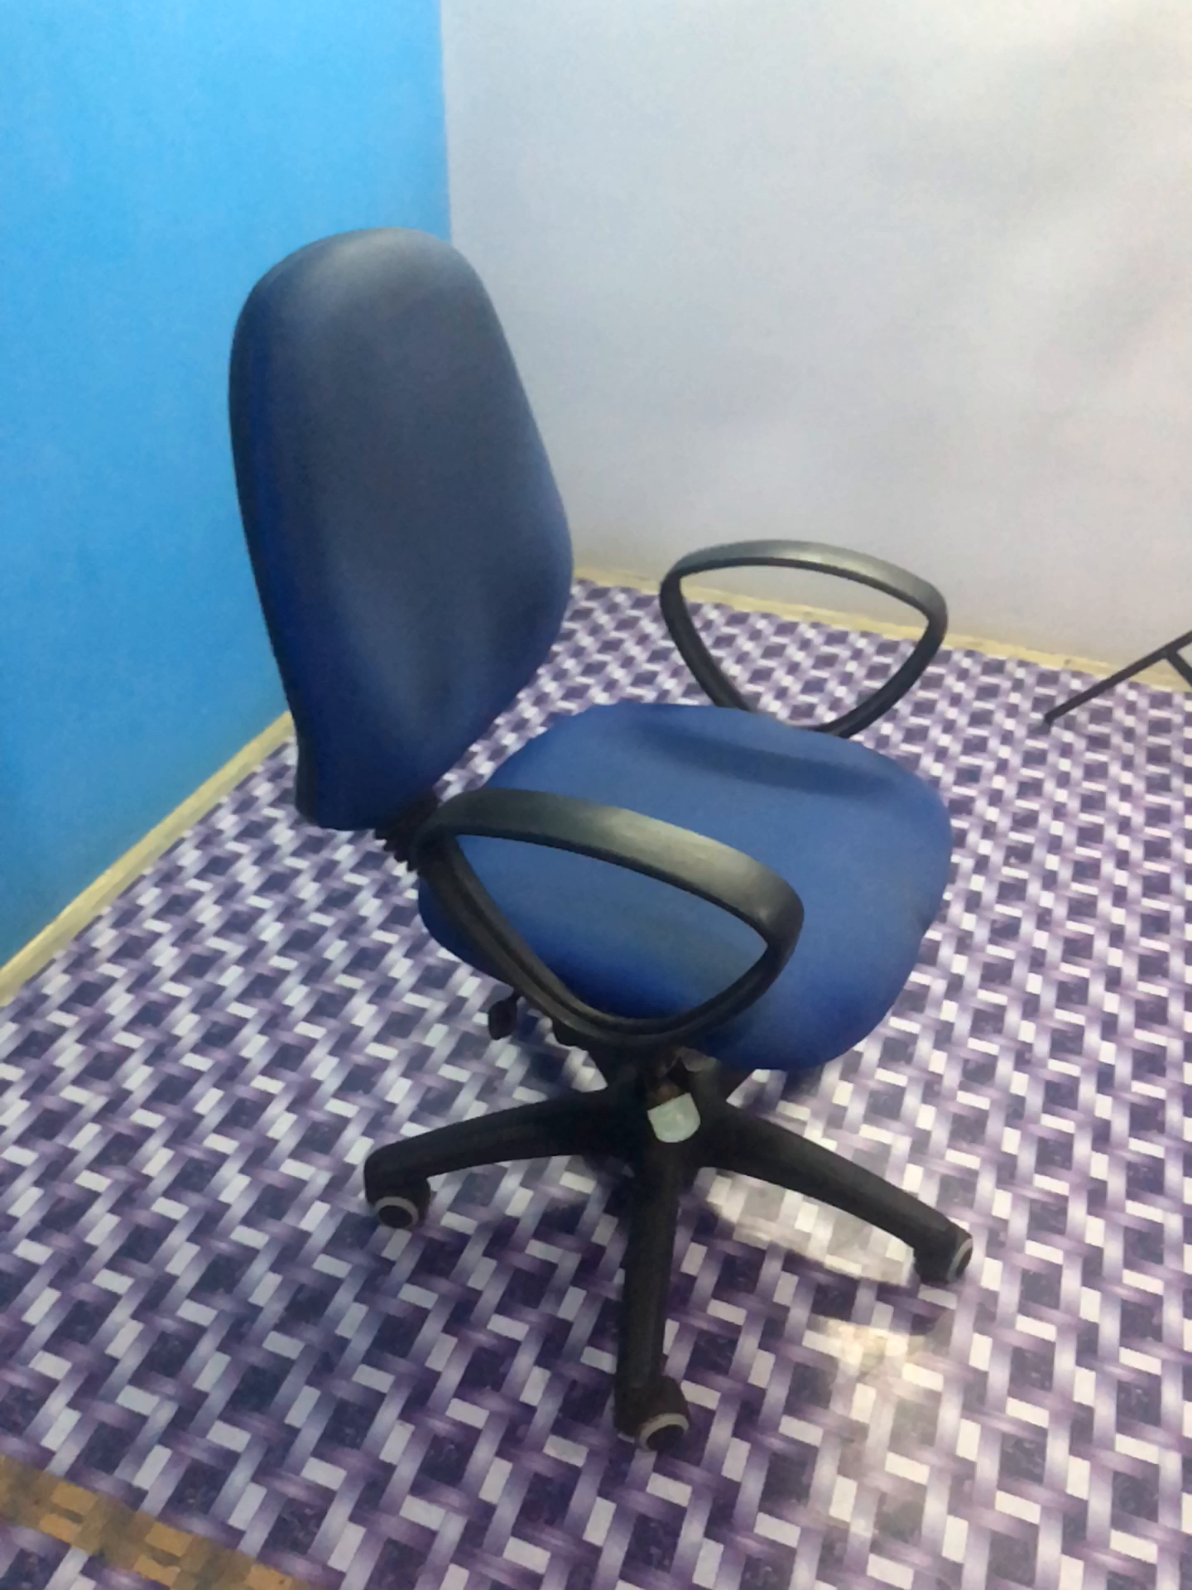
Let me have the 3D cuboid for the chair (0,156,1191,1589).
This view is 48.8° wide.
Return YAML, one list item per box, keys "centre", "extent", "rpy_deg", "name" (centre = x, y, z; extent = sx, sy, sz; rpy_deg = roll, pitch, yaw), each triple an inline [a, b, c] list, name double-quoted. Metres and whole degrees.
- centre: [0.092, 0.005, 1.178]
  extent: [0.690, 0.915, 0.704]
  rpy_deg: [15, 36, 20]
  name: "chair"
